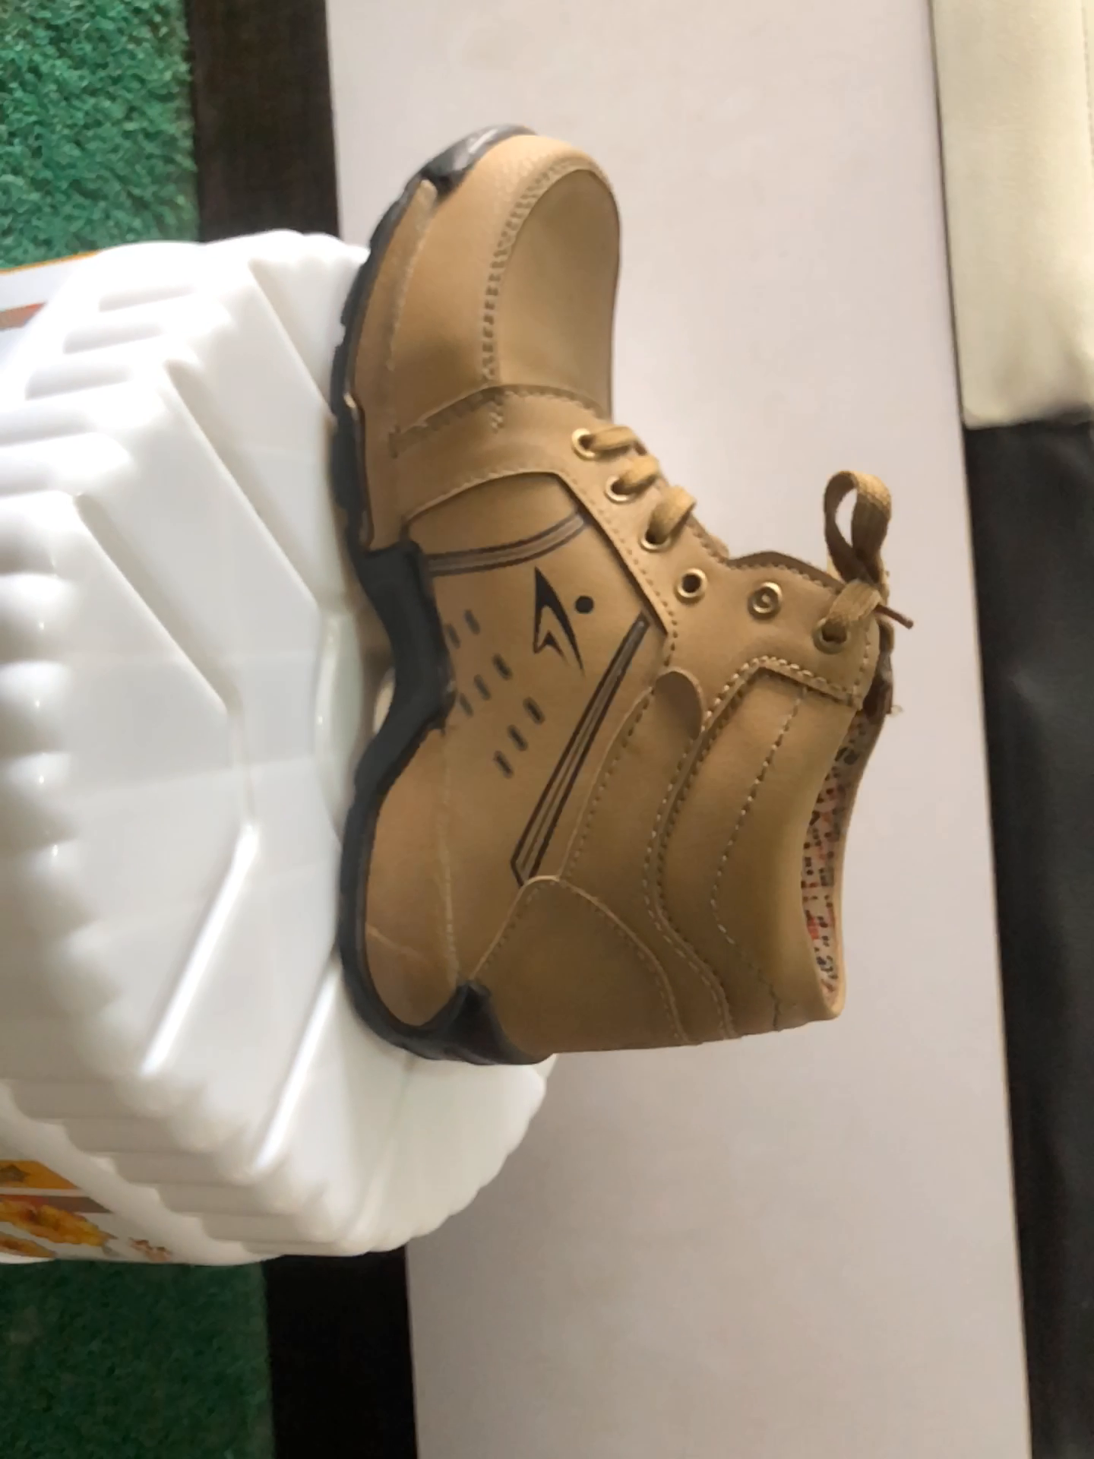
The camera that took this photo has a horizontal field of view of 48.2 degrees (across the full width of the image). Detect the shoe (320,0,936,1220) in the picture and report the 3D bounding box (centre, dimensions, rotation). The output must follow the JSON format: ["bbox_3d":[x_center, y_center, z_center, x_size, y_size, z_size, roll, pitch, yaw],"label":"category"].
[{"bbox_3d":[0.031,-0.046,0.331,0.141,0.109,0.300,18,70,-63],"label":"shoe"}]
